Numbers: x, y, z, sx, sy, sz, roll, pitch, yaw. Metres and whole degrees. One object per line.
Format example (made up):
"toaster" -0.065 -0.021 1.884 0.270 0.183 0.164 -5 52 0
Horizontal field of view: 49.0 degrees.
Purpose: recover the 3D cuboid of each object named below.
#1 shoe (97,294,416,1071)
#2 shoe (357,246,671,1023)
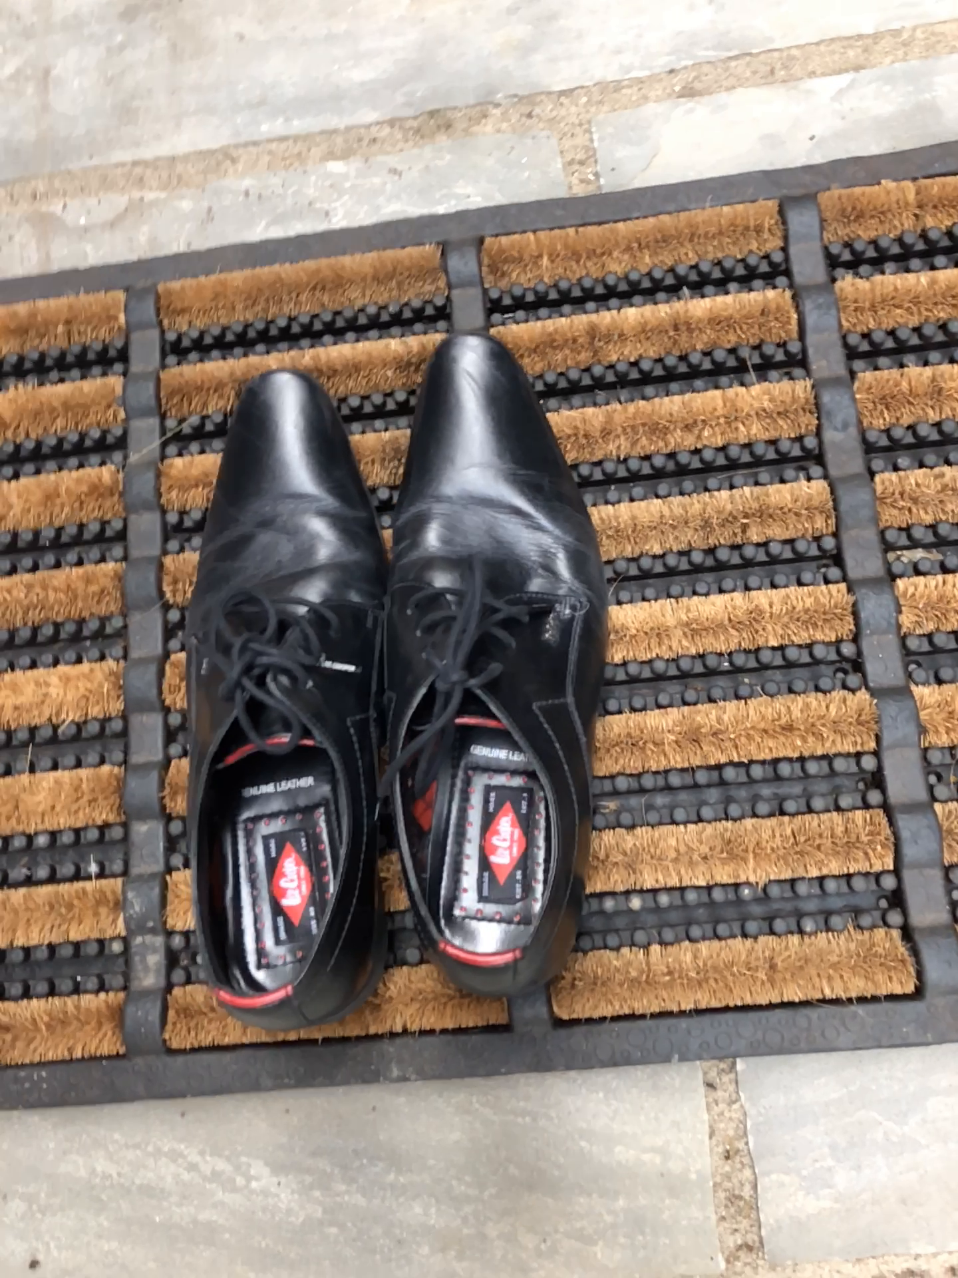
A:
"shoe" -0.092 0.016 0.457 0.100 0.100 0.300 -5 76 4
"shoe" 0.012 -0.002 0.453 0.100 0.100 0.300 -5 76 4
